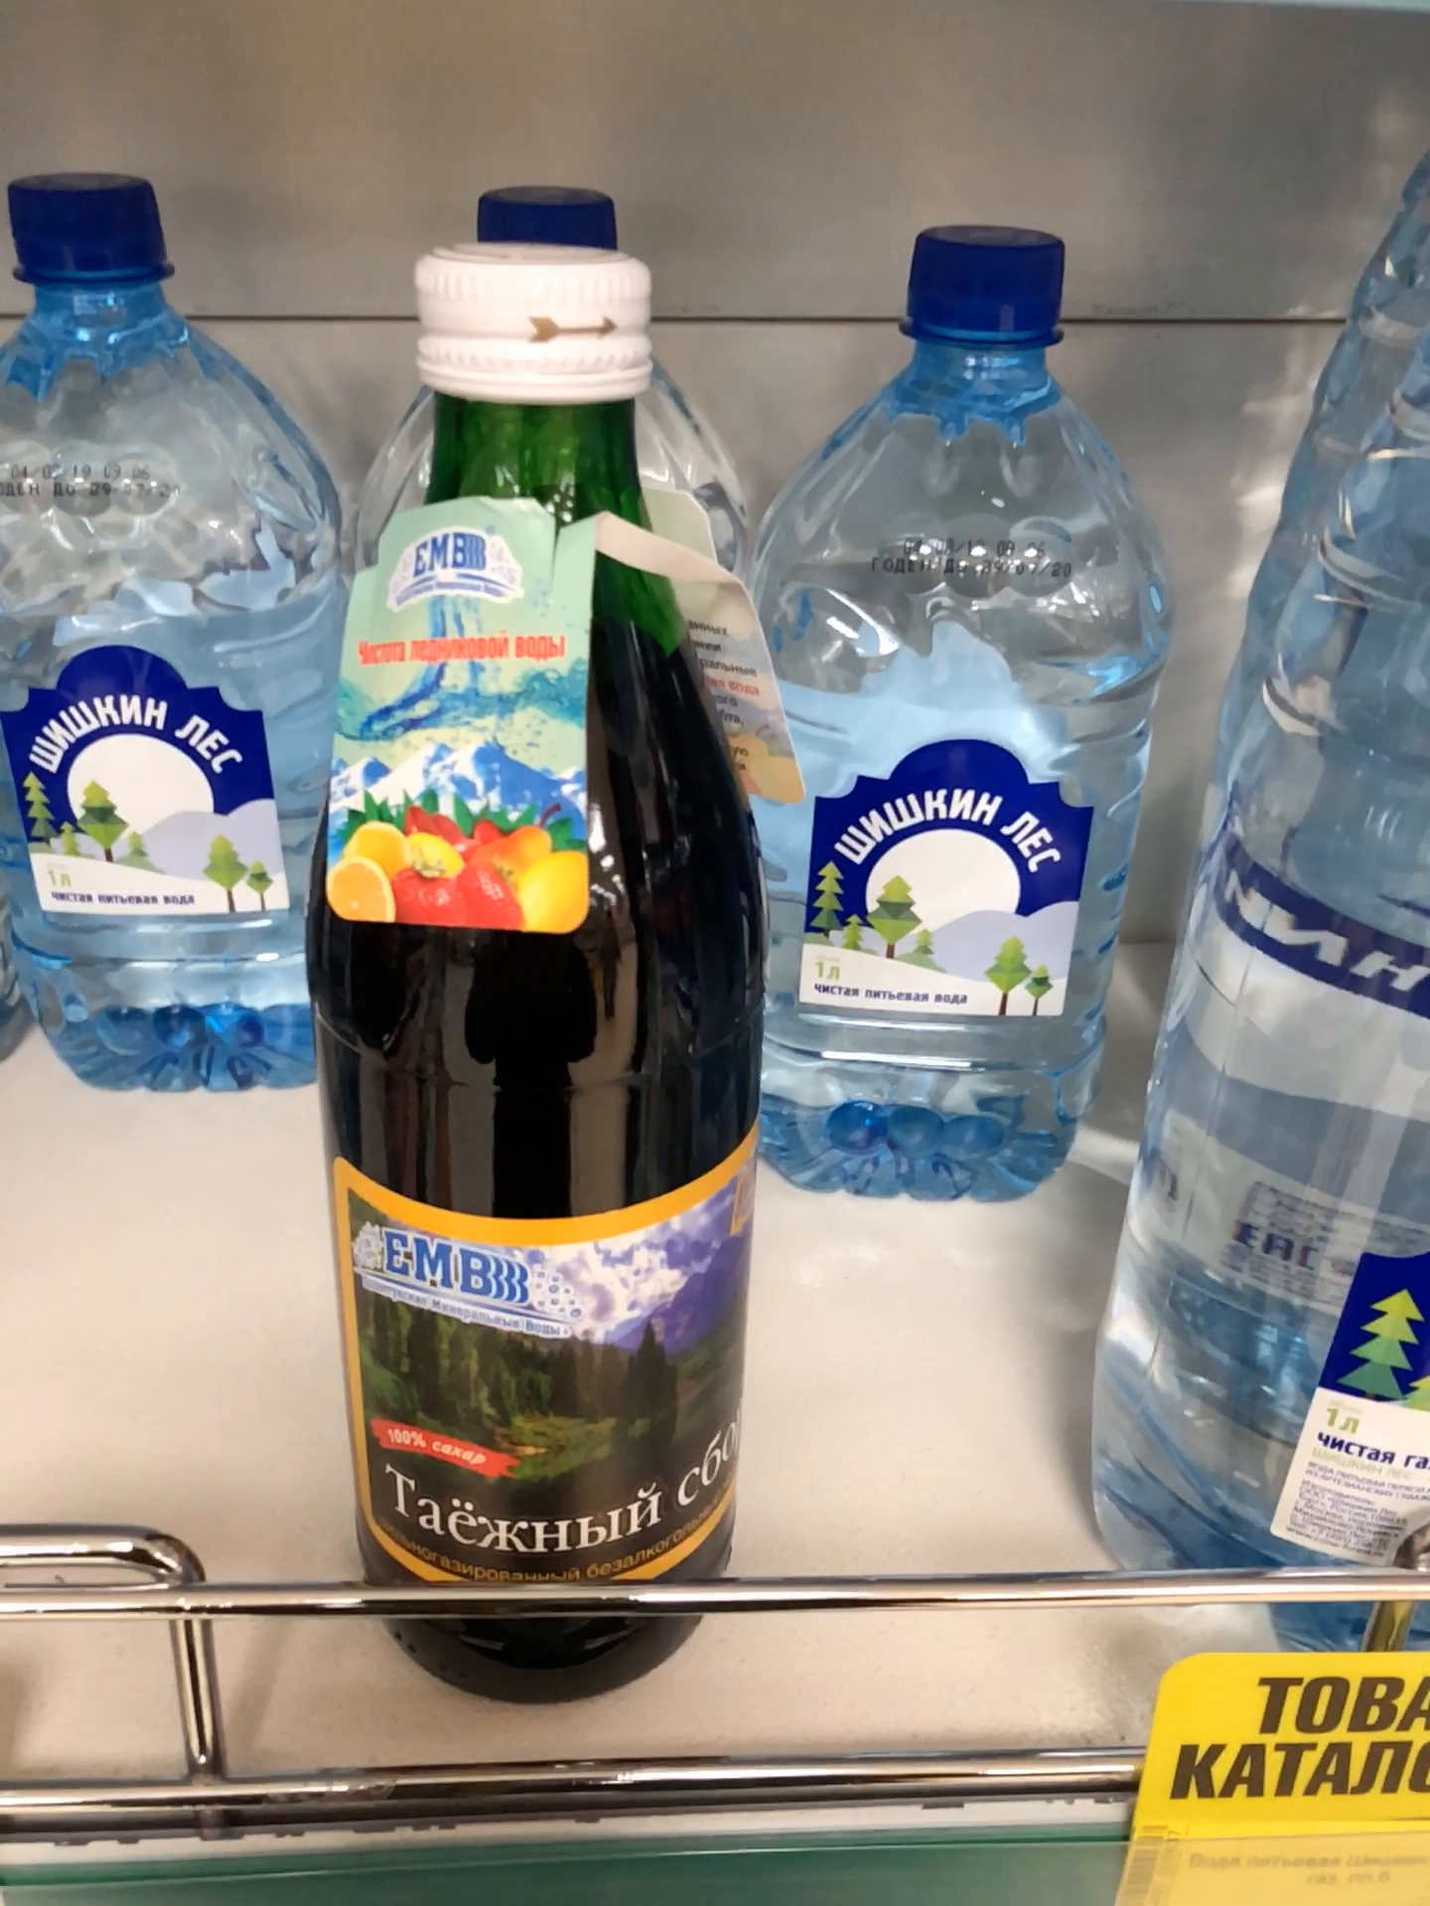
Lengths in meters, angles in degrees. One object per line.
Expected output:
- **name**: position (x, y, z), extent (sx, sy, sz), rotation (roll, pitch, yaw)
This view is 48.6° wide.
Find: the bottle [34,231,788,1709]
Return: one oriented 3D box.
- **bottle**: position (-0.032, 0.014, 0.241), extent (0.075, 0.219, 0.068), rotation (0, 30, 0)
